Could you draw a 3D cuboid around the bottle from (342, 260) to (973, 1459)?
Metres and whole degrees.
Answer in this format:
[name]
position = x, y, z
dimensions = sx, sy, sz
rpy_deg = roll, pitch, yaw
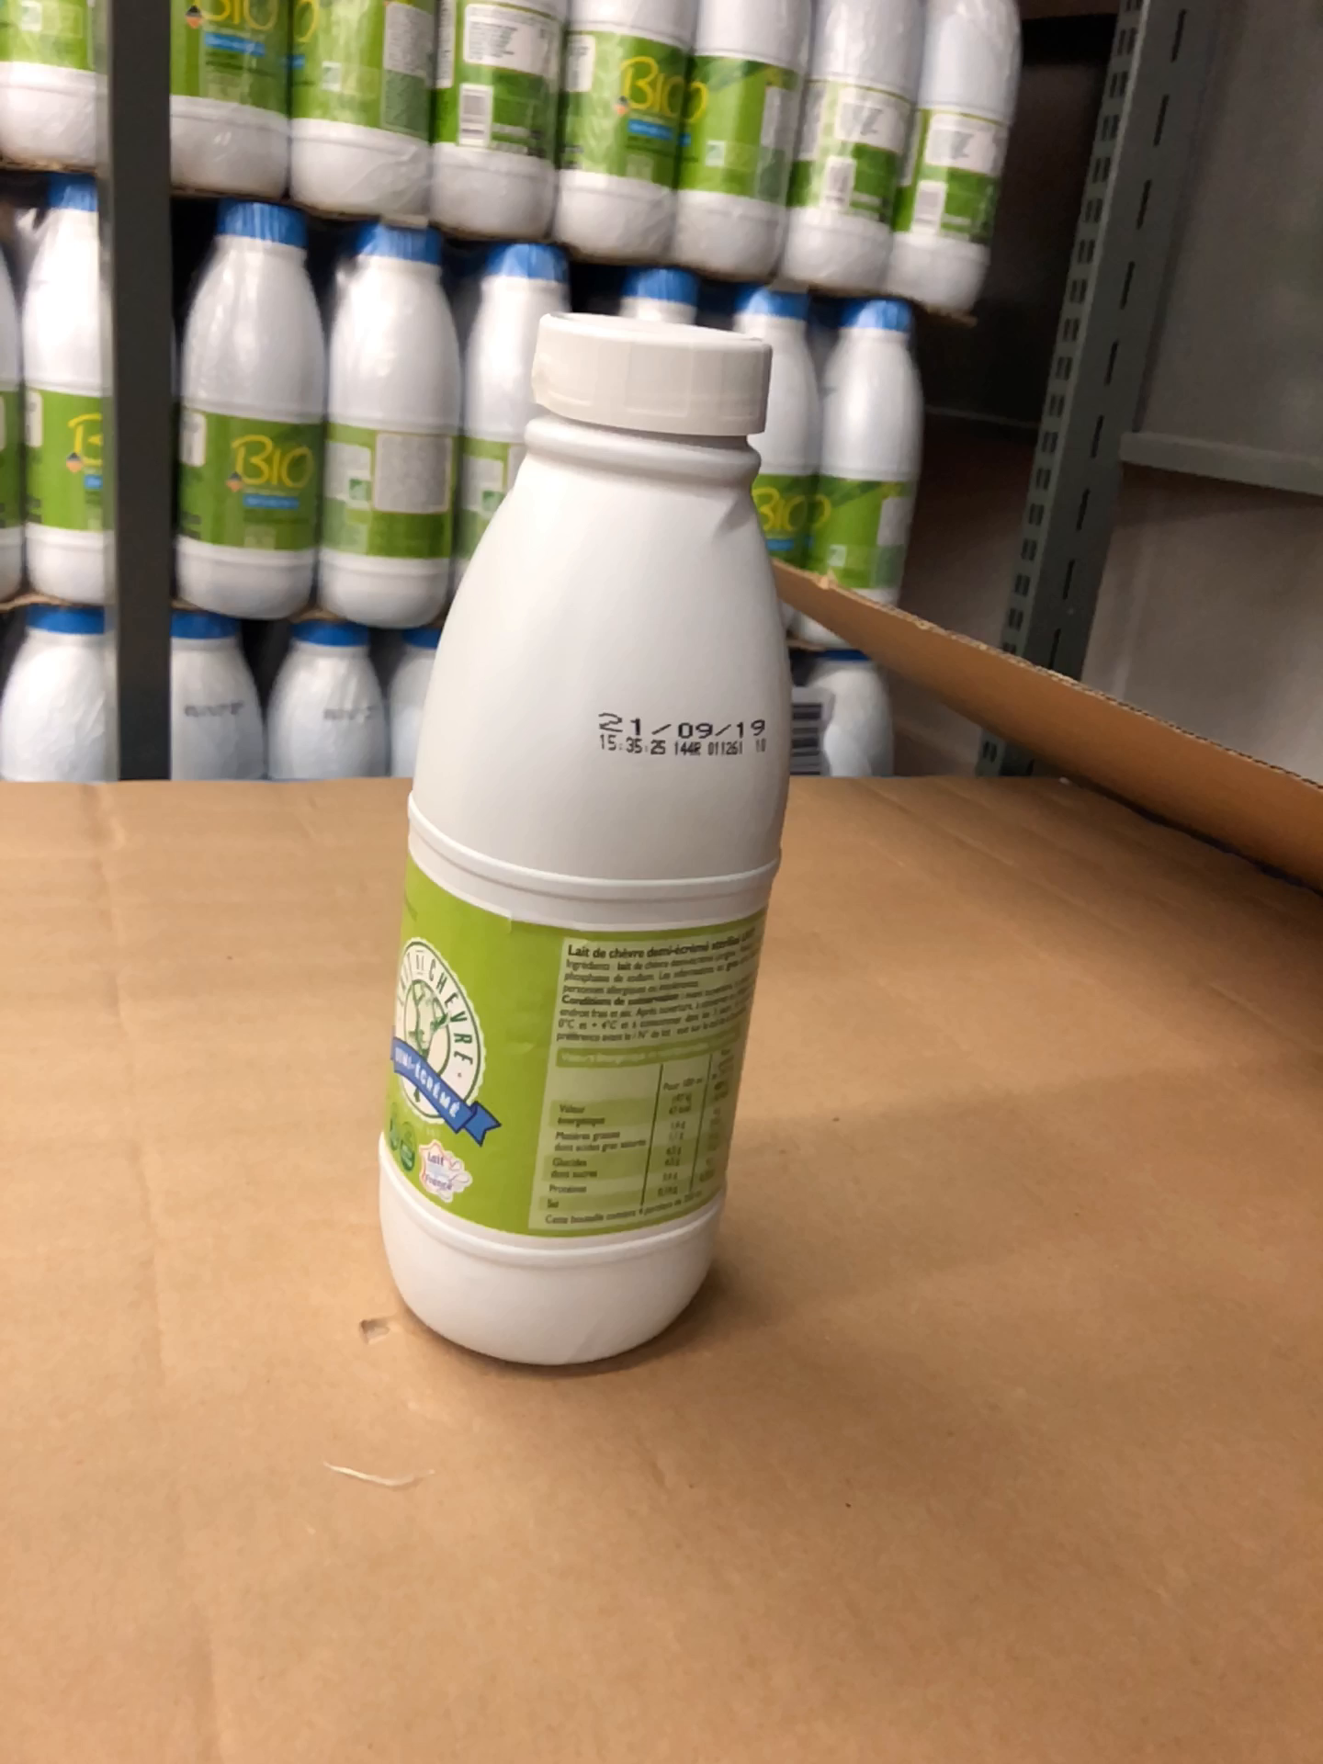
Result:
[bottle]
position = -0.013, -0.009, 0.336
dimensions = 0.080, 0.239, 0.100
rpy_deg = -6, 22, -32
